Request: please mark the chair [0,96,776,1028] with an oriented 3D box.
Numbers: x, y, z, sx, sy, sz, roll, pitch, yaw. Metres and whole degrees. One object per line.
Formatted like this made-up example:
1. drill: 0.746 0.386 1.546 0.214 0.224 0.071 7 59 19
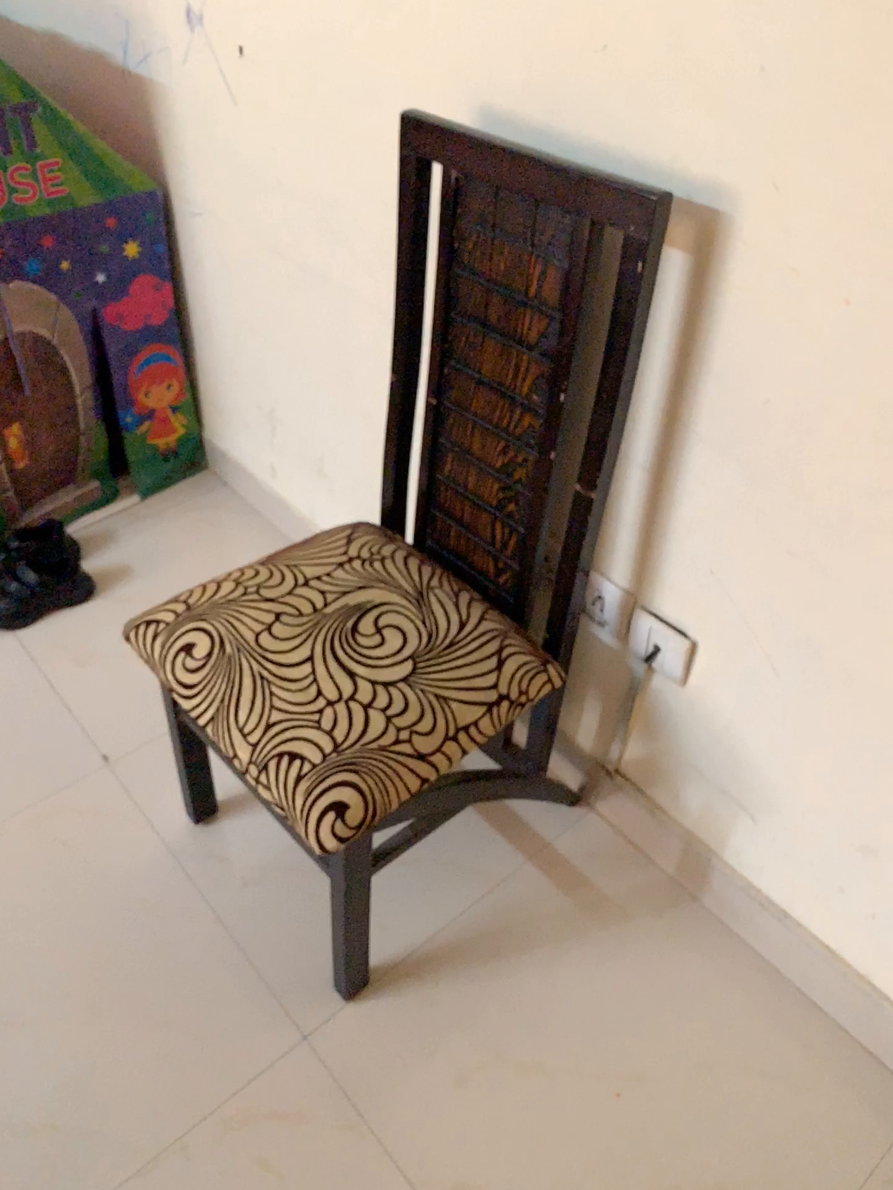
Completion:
1. chair: -0.082 -0.042 1.202 0.582 0.922 0.532 -31 51 -33
